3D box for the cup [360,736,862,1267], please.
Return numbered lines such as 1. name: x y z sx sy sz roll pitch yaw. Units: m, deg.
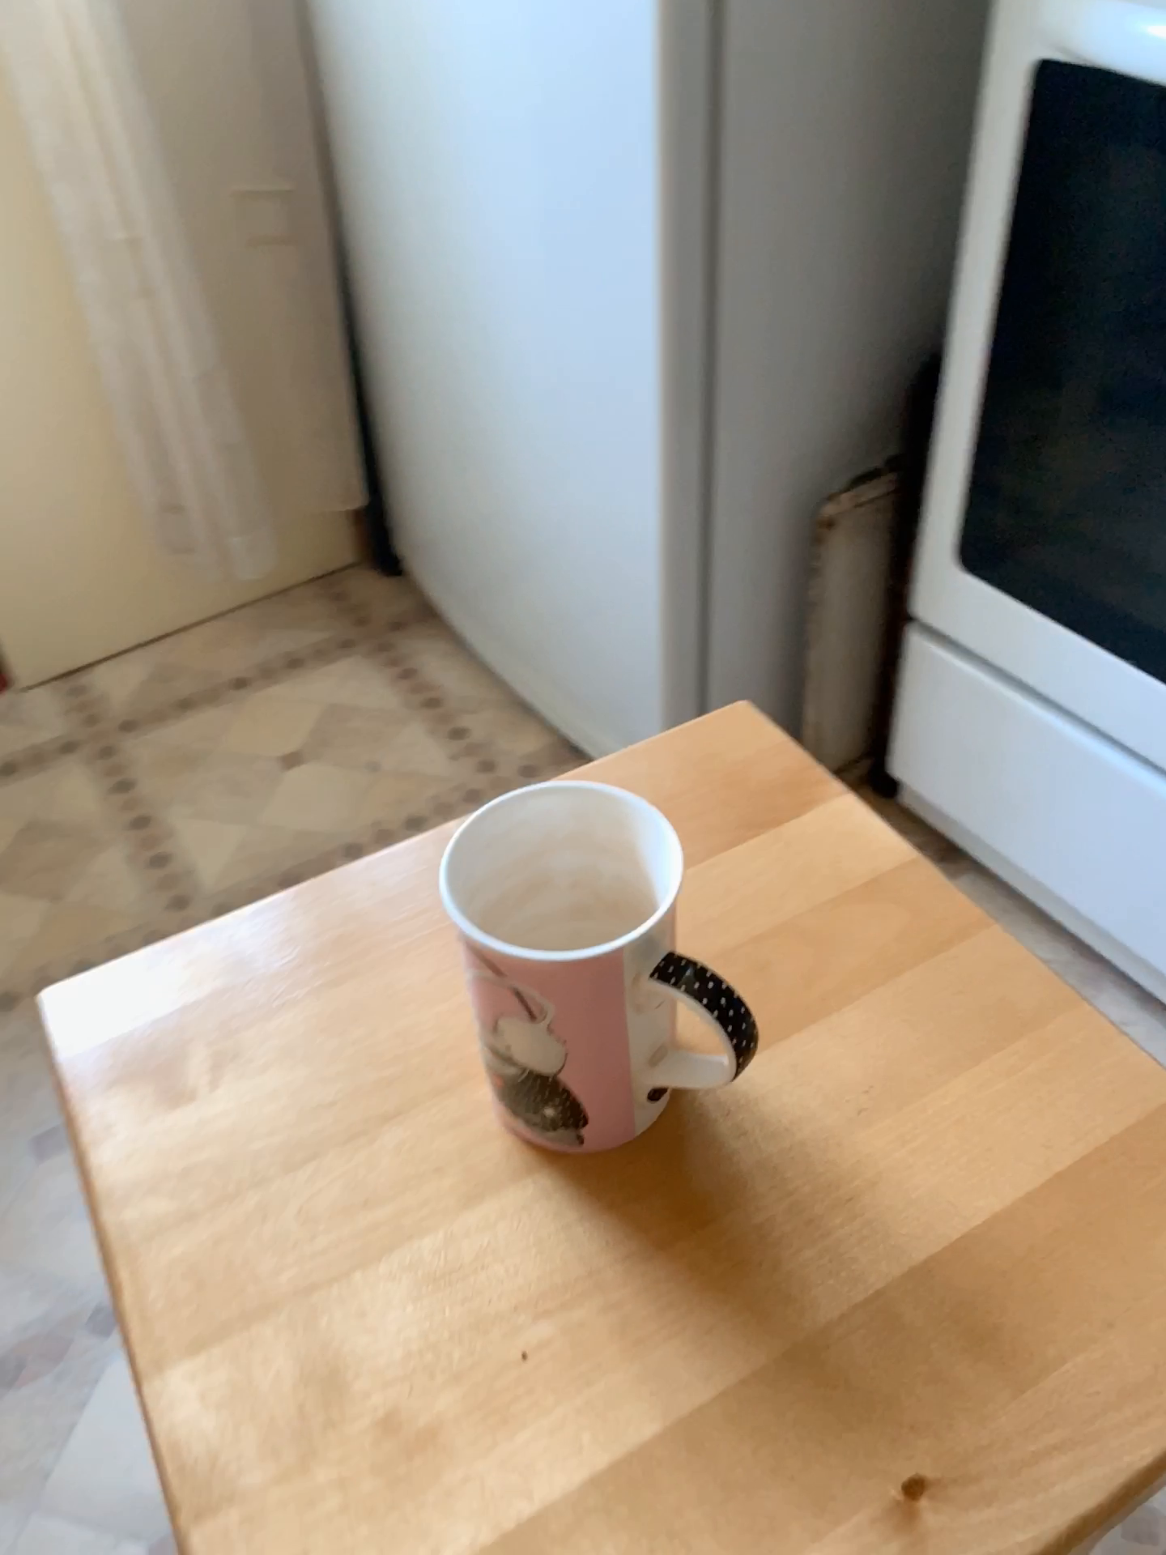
1. cup: 0.011 0.066 0.376 0.120 0.099 0.080 20 46 26
